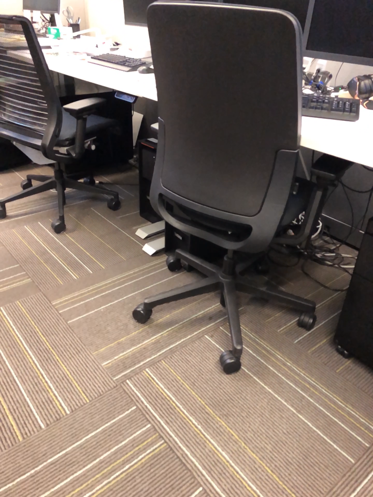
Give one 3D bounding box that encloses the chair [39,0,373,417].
[{"bbox_3d":[0.072,-0.225,1.321,0.661,1.014,0.783,-21,38,-34],"label":"chair"}]
